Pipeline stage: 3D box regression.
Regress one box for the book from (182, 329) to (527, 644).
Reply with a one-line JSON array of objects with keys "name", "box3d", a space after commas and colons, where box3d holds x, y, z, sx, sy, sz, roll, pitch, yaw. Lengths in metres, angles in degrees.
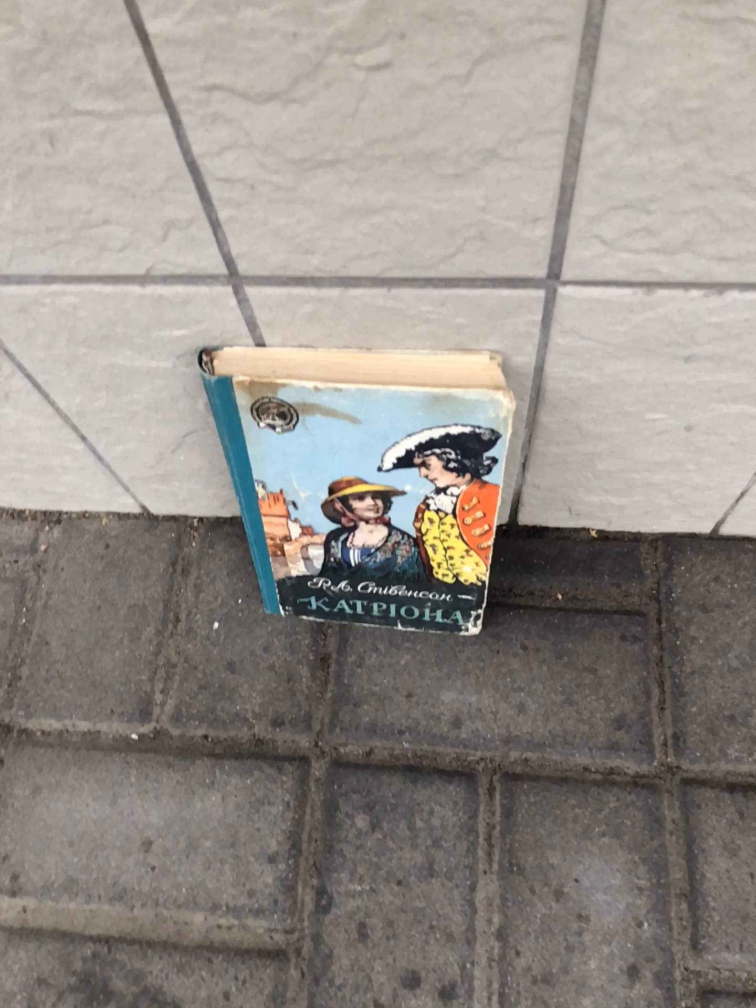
[{"name": "book", "box3d": [-0.004, 0.002, 0.405, 0.134, 0.190, 0.030, 5, 53, 8]}]
